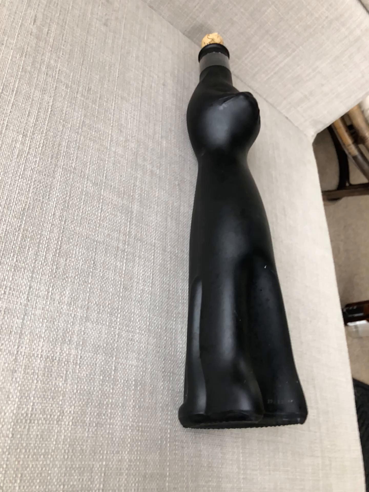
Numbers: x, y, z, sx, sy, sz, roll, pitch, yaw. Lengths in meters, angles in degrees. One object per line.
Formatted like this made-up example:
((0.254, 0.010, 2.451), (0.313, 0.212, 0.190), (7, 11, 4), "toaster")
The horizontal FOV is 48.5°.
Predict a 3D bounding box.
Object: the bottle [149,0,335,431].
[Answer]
((0.036, -0.031, 0.310), (0.078, 0.079, 0.311), (22, 59, -38), "bottle")
